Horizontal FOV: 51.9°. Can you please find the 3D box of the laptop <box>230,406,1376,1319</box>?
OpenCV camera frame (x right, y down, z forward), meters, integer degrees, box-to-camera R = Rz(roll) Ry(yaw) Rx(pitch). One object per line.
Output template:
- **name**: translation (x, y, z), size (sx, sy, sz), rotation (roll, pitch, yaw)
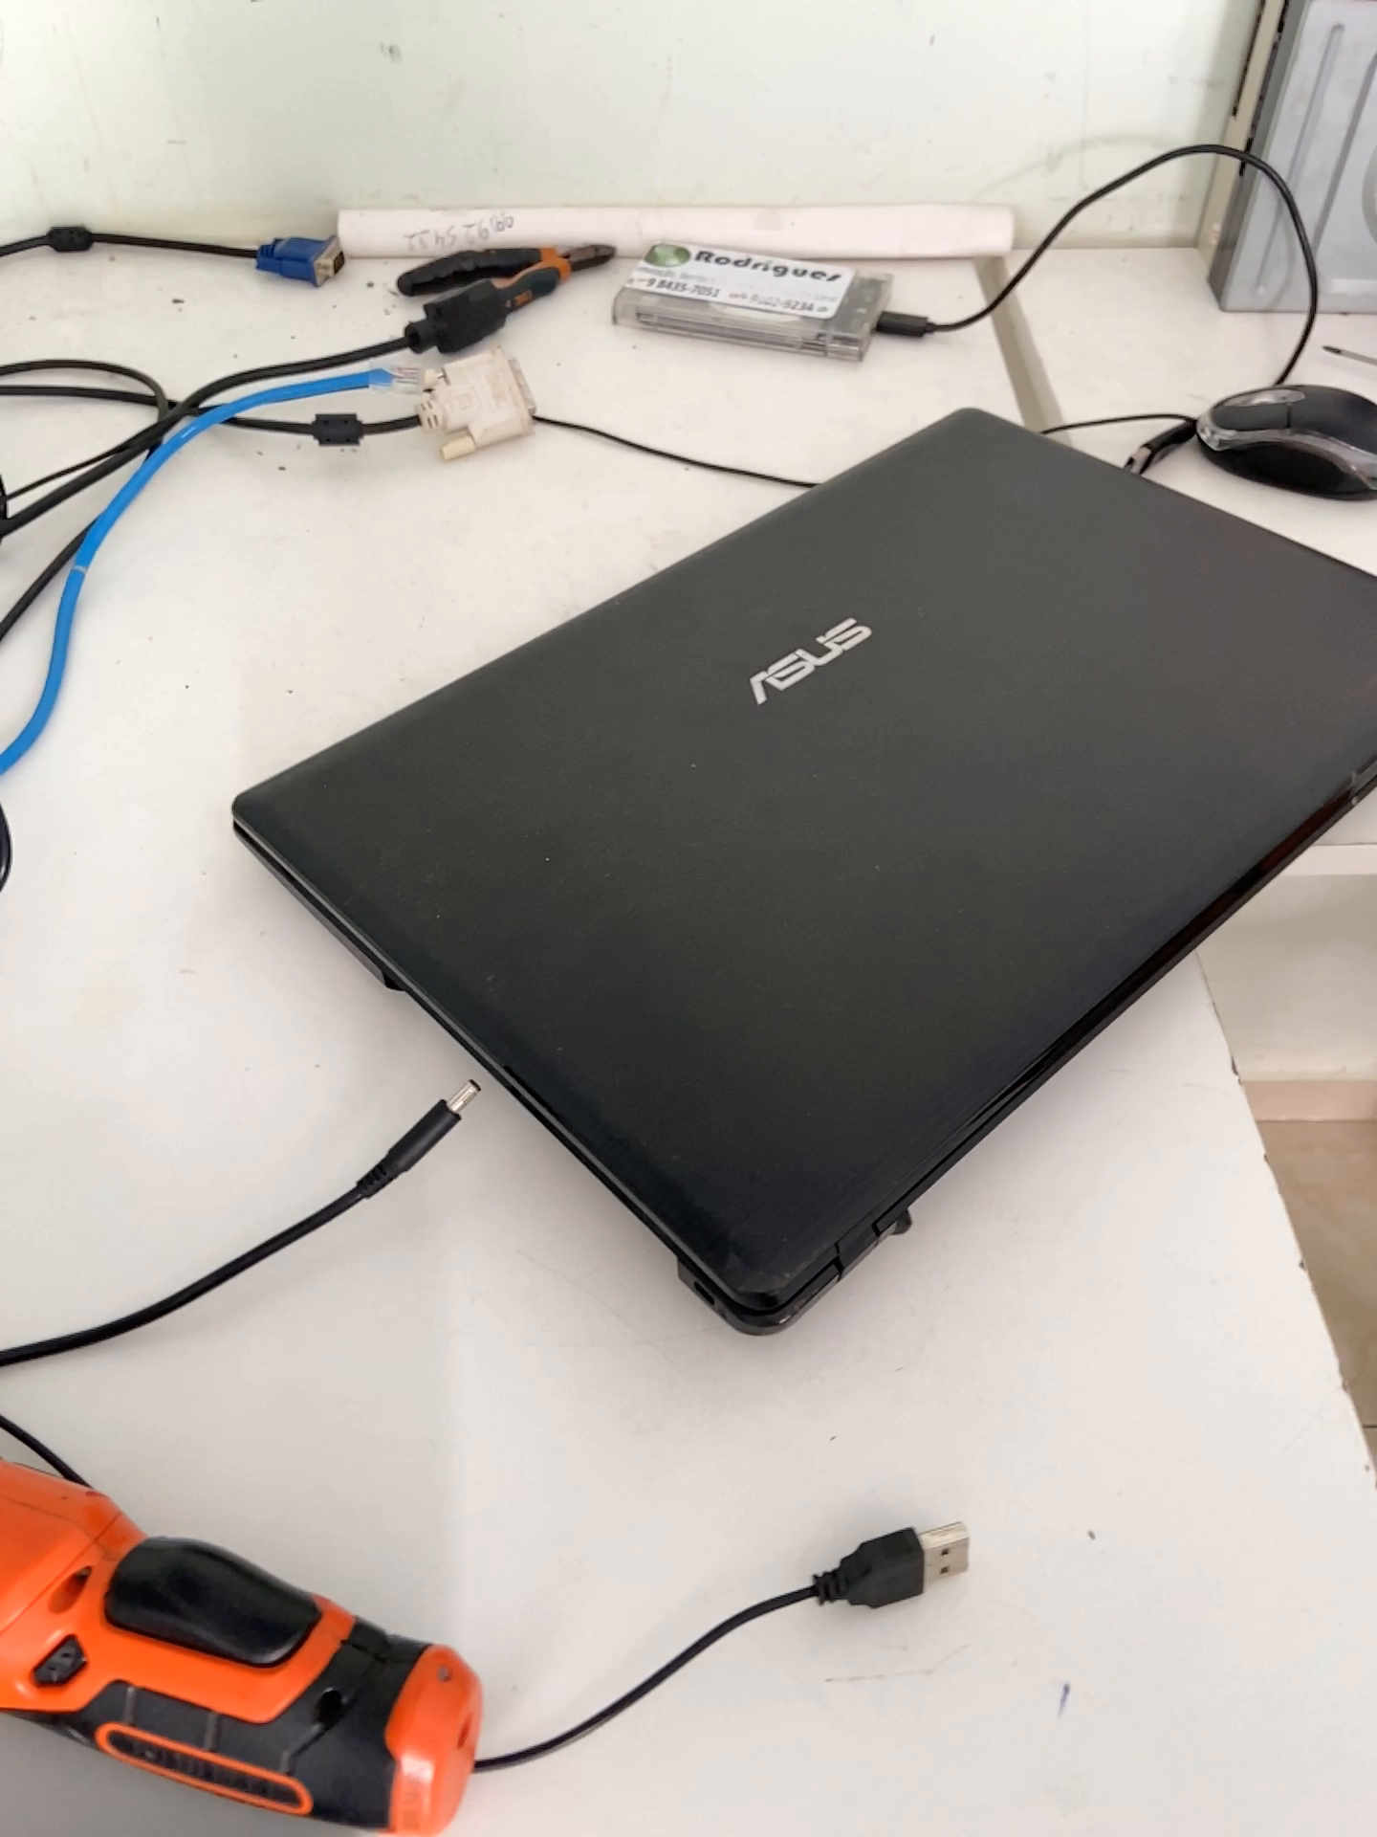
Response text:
- **laptop**: translation (0.072, -0.067, 0.497), size (0.382, 0.010, 0.253), rotation (-35, 54, -26)
